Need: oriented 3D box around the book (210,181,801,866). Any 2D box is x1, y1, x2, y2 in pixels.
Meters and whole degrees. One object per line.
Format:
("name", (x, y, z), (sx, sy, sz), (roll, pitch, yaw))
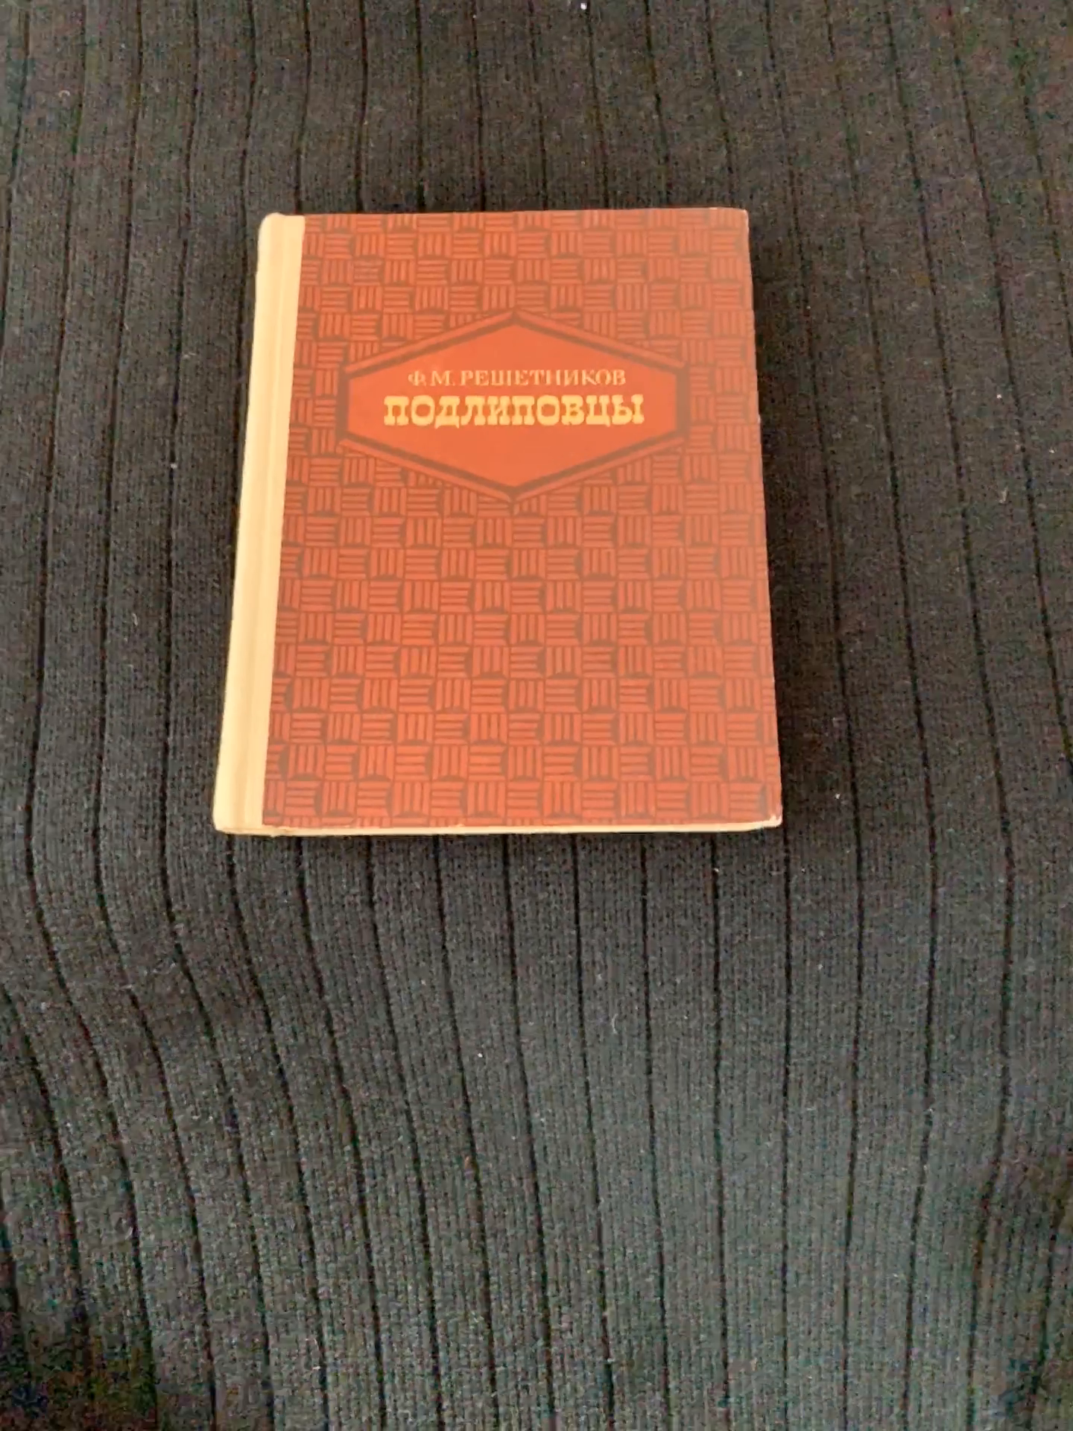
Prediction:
("book", (-0.008, -0.053, 0.276), (0.129, 0.015, 0.177), (-1, 73, 1))
